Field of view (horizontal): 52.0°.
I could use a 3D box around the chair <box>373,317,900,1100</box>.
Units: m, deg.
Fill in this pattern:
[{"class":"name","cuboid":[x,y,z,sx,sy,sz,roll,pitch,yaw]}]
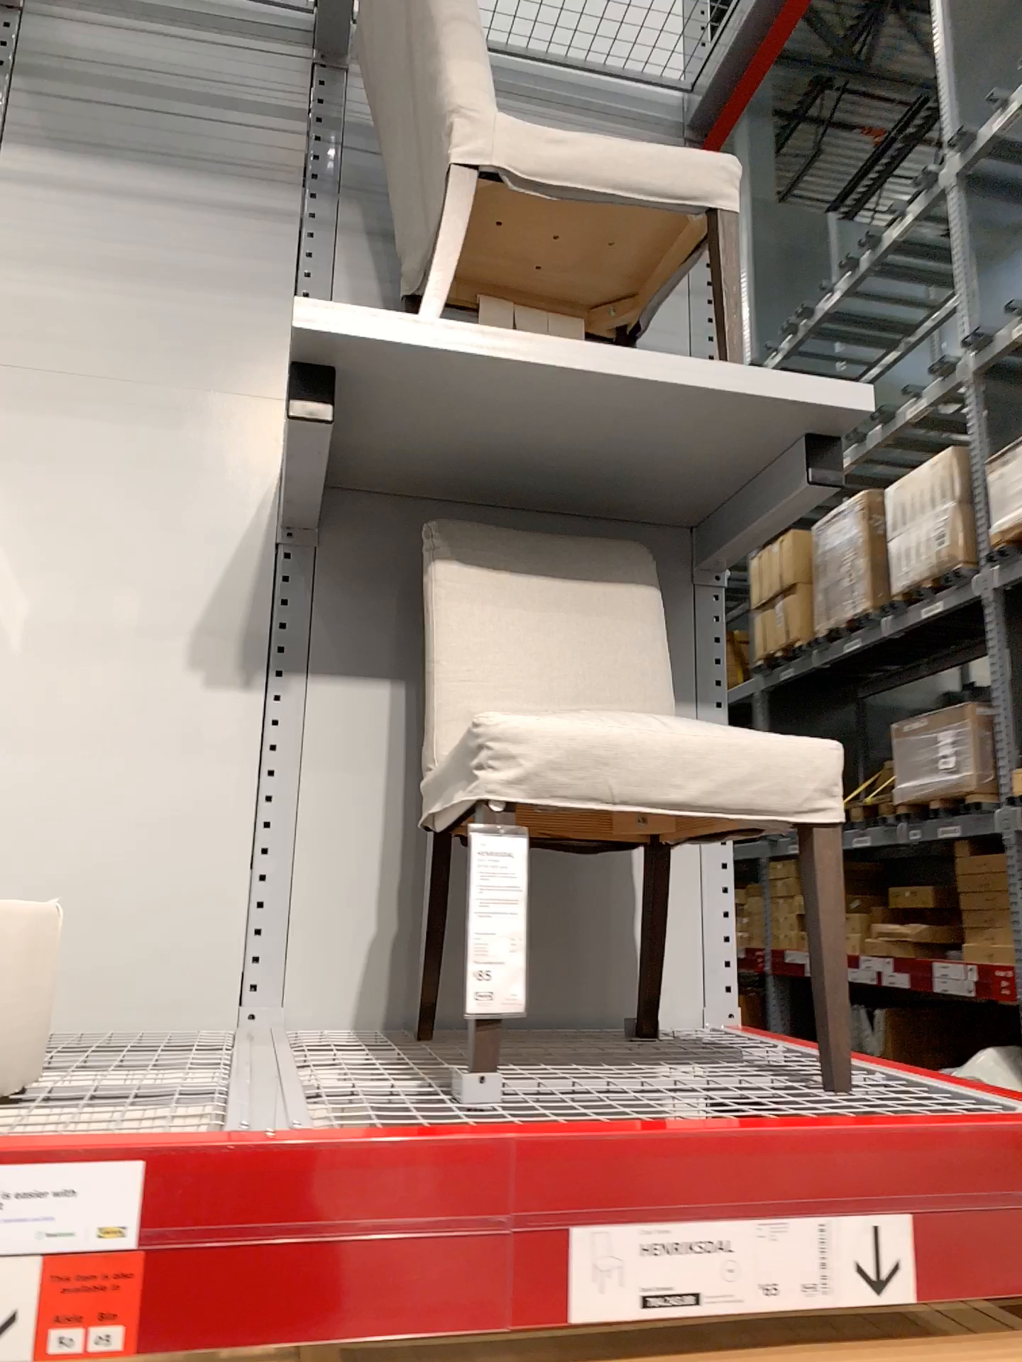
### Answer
[{"class":"chair","cuboid":[0.136,0.083,1.673,0.560,0.983,0.668,5,-14,-16]}]
